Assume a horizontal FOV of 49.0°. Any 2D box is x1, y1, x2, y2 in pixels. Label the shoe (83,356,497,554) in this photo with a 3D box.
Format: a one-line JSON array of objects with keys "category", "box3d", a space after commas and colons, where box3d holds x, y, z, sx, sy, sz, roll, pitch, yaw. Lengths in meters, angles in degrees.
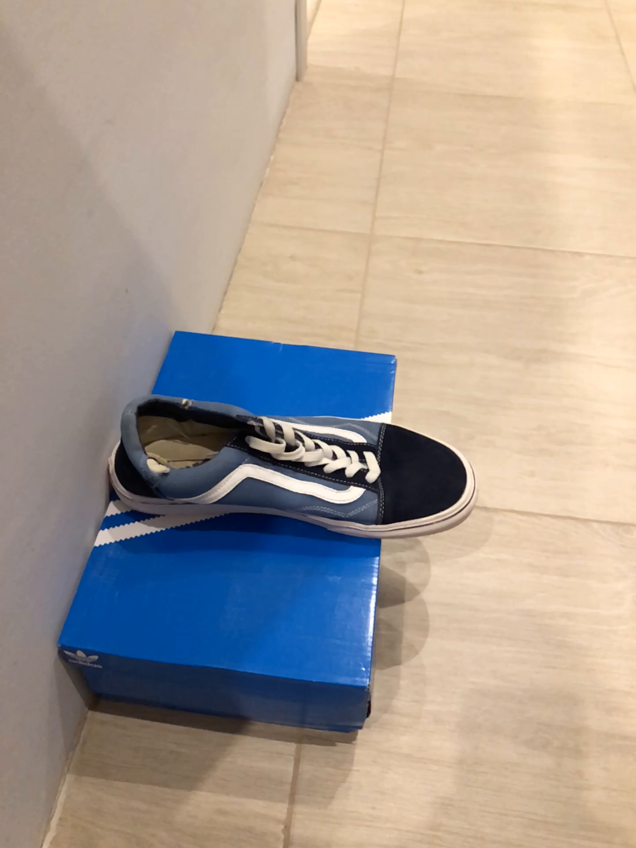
[{"category": "shoe", "box3d": [-0.017, 0.022, 0.537, 0.280, 0.080, 0.111, 3, 50, 2]}]
